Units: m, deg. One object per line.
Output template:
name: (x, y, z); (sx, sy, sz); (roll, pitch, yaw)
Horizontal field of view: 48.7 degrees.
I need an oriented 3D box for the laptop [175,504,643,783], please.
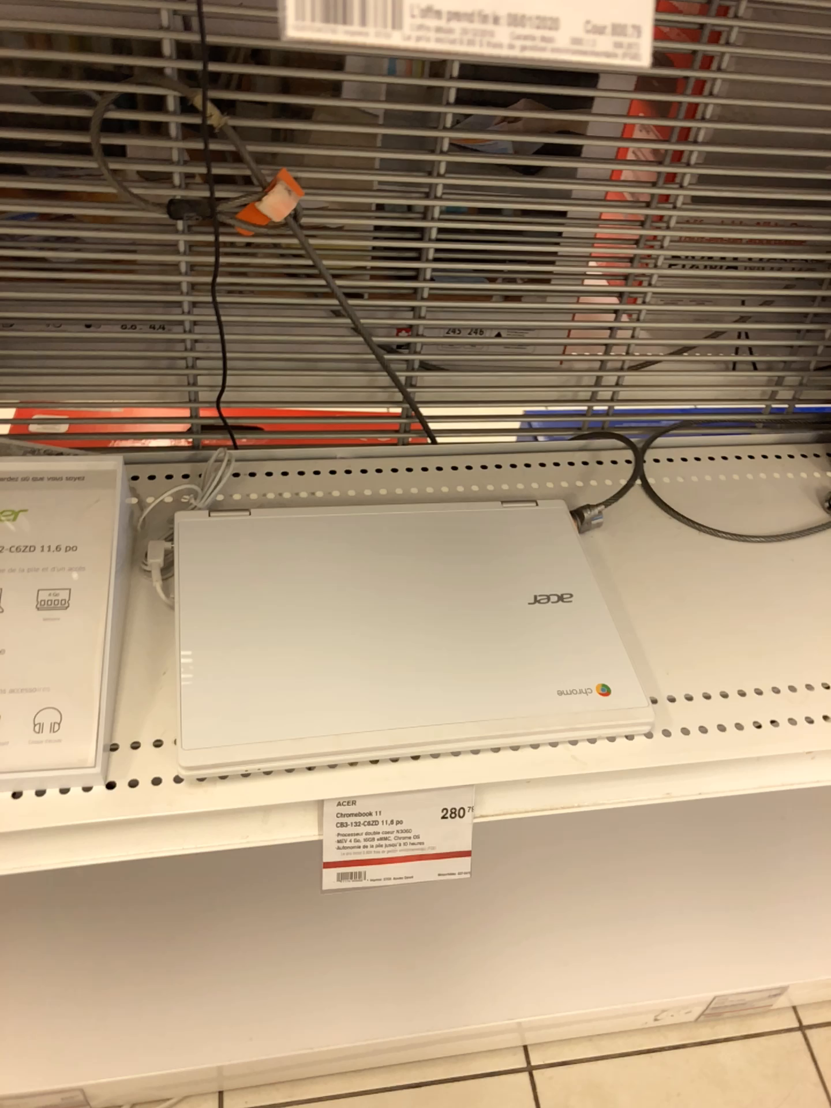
laptop: (-0.012, 0.050, 0.622); (0.286, 0.024, 0.184); (-3, 54, -12)
